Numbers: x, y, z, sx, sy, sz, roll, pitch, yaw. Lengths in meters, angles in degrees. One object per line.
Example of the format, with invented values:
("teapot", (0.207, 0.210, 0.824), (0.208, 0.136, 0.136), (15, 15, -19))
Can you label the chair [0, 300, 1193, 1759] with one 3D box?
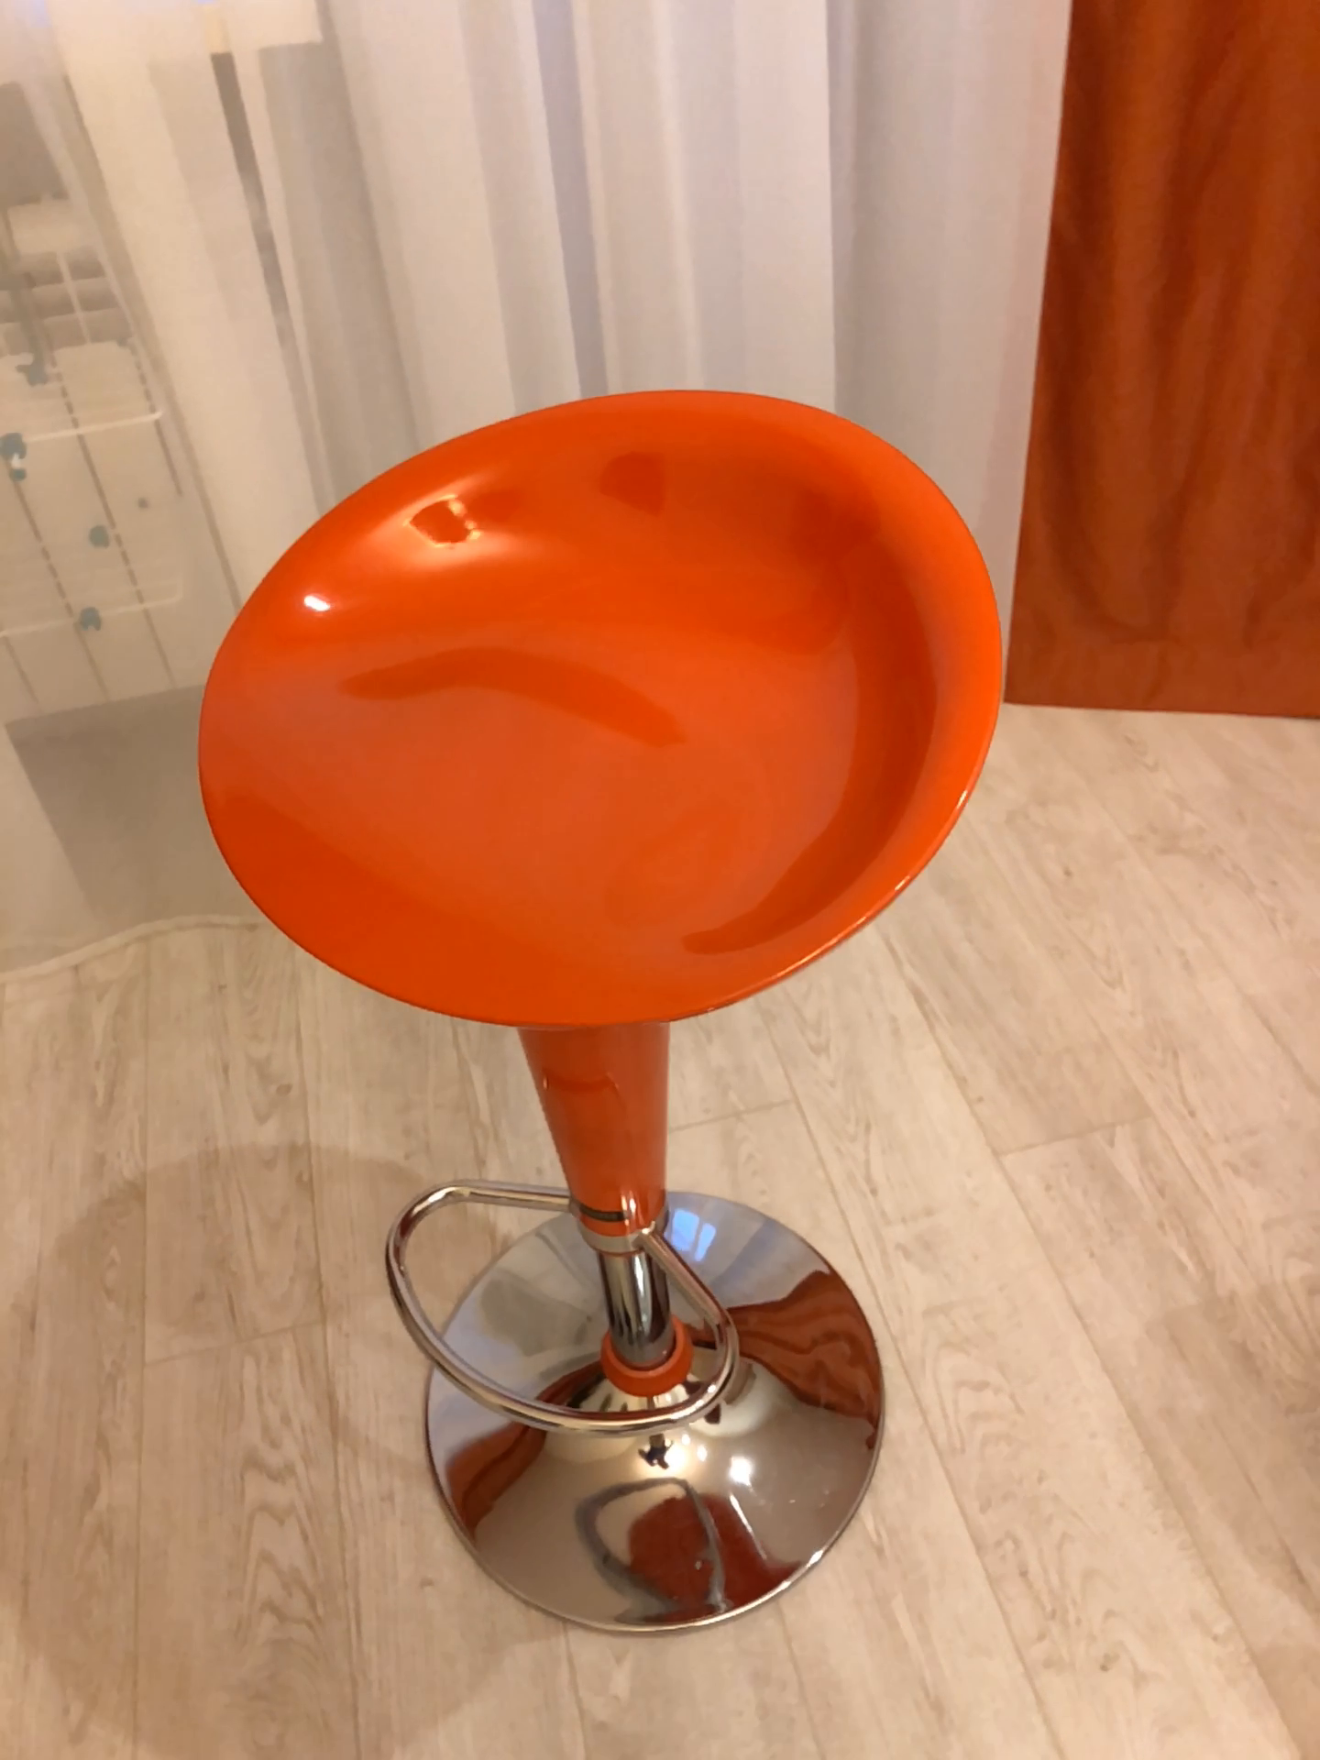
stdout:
("chair", (-0.027, 0.134, 0.845), (0.401, 0.735, 0.392), (25, 51, 29))
